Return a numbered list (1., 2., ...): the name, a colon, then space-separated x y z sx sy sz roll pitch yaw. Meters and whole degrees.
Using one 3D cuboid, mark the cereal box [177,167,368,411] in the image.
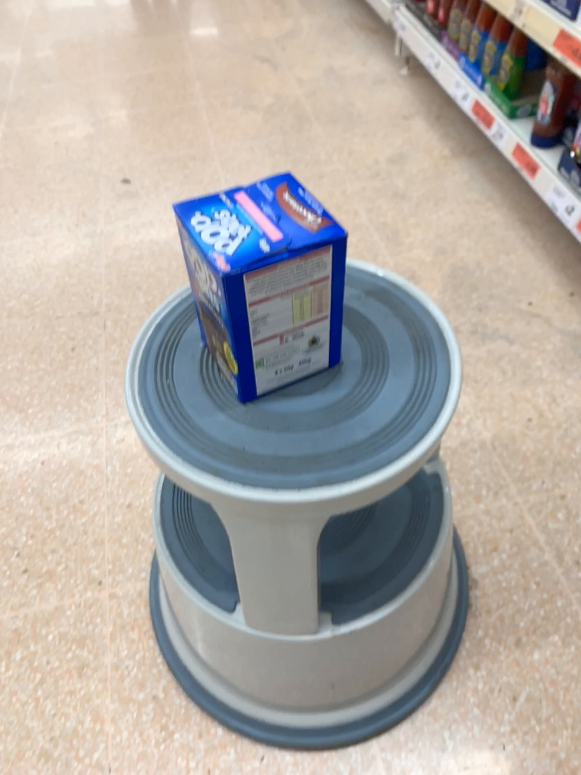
1. cereal box: -0.011 -0.080 0.498 0.110 0.139 0.101 -24 52 -13
